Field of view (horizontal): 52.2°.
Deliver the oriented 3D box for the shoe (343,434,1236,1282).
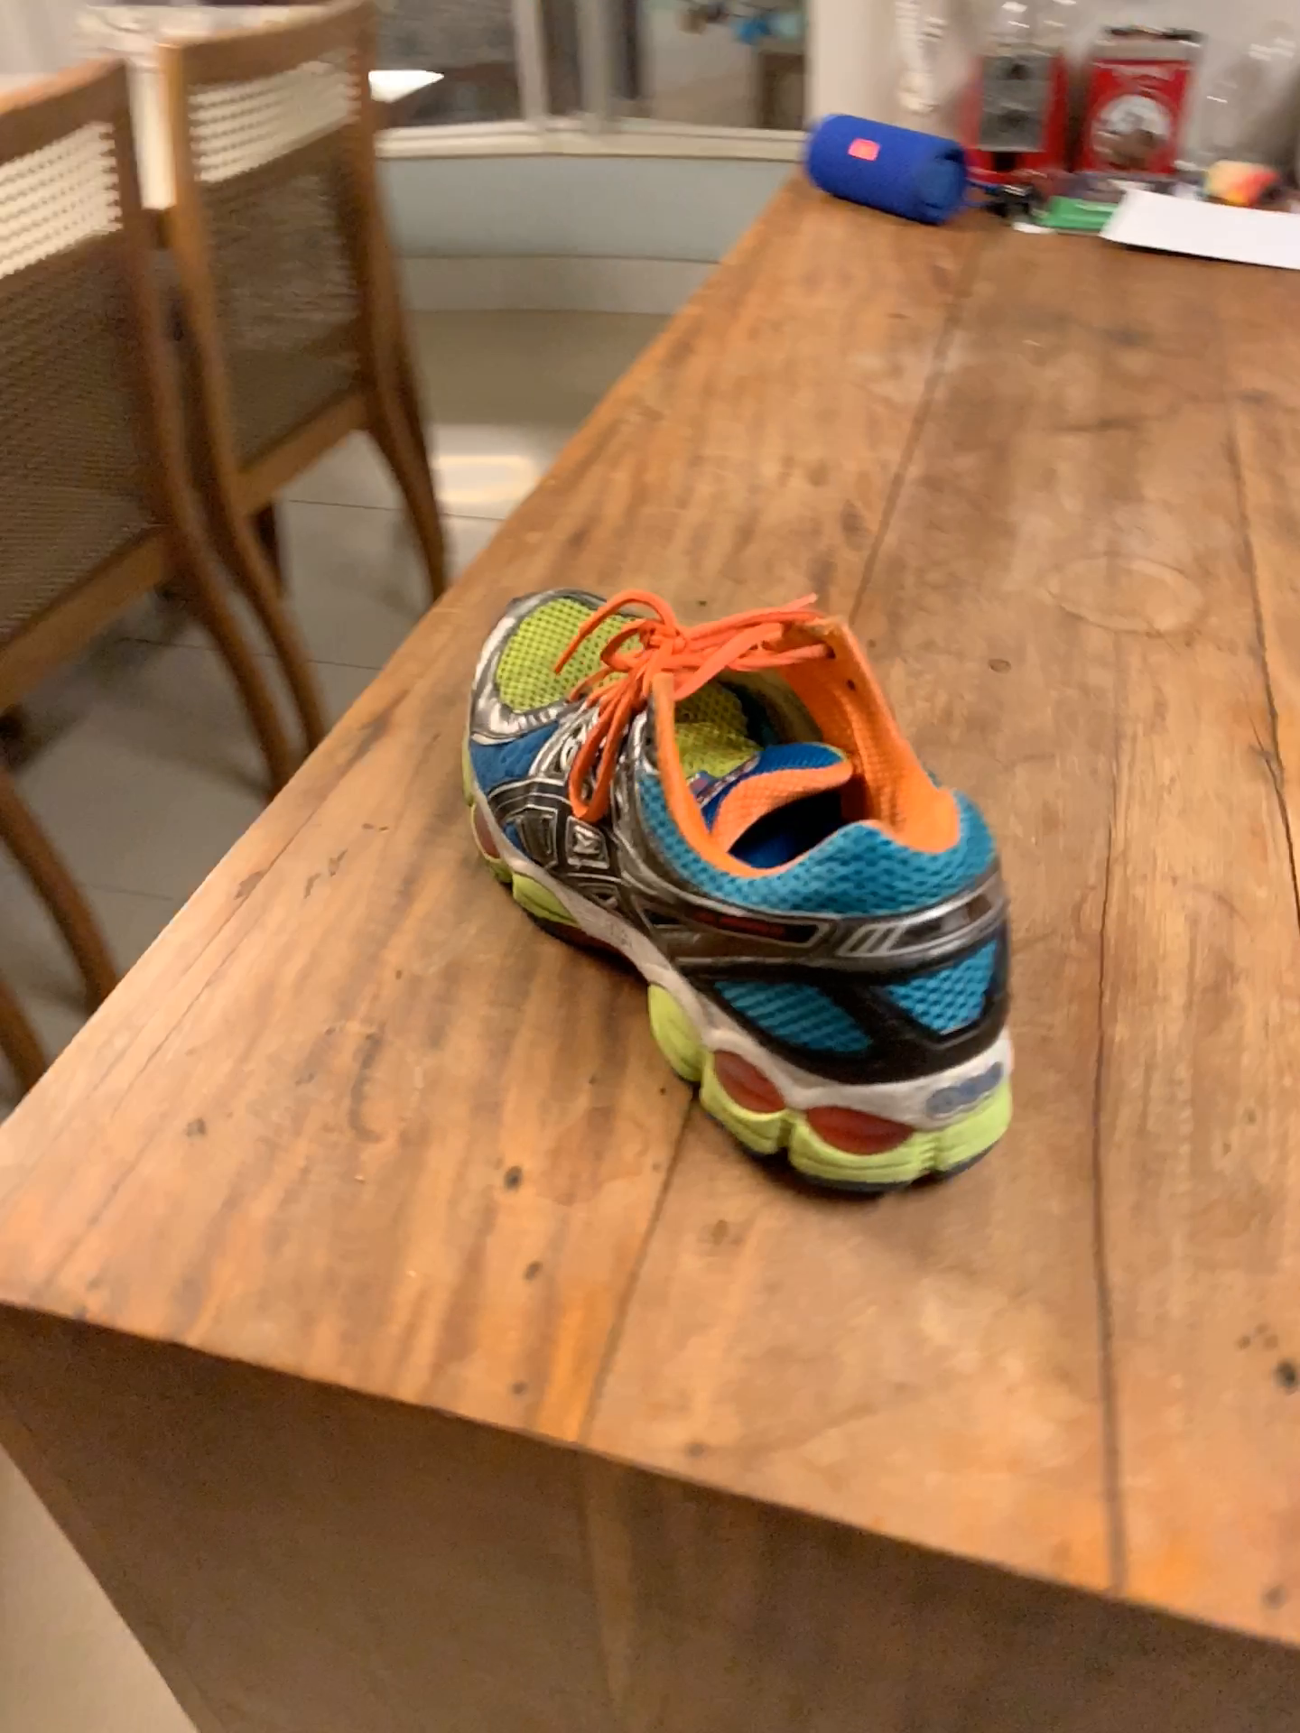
[{"bbox_3d":[0.019,-0.033,0.447,0.125,0.109,0.302,-22,42,-22],"label":"shoe"}]
